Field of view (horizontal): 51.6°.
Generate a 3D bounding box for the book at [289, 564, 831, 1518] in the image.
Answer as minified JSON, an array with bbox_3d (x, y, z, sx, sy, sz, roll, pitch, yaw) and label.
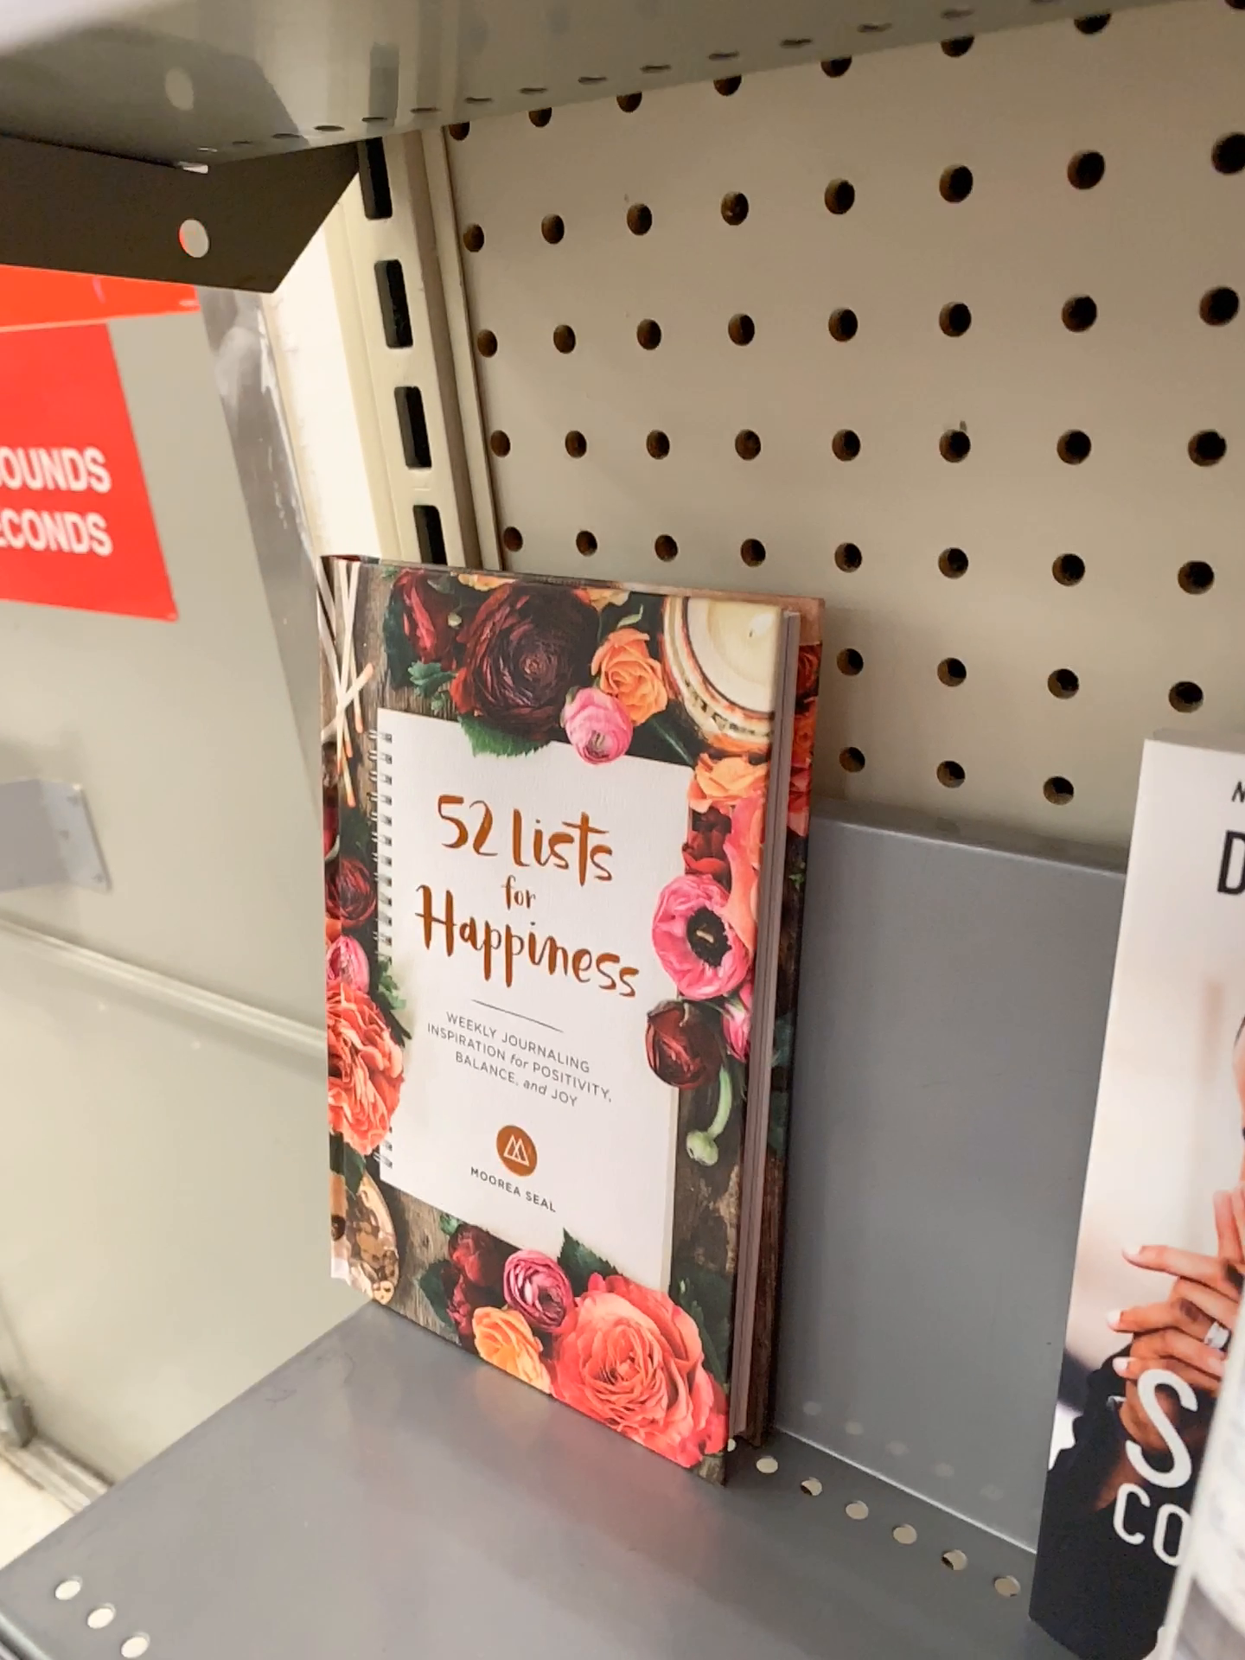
[{"bbox_3d":[-0.025,0.046,0.333,0.150,0.216,0.020,12,17,35],"label":"book"}]
